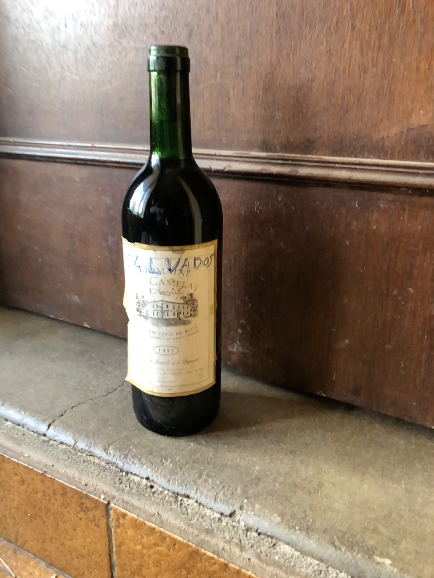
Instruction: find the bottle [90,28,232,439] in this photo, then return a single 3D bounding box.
[{"bbox_3d":[-0.032,-0.031,0.357,0.080,0.279,0.080,1,20,0],"label":"bottle"}]
